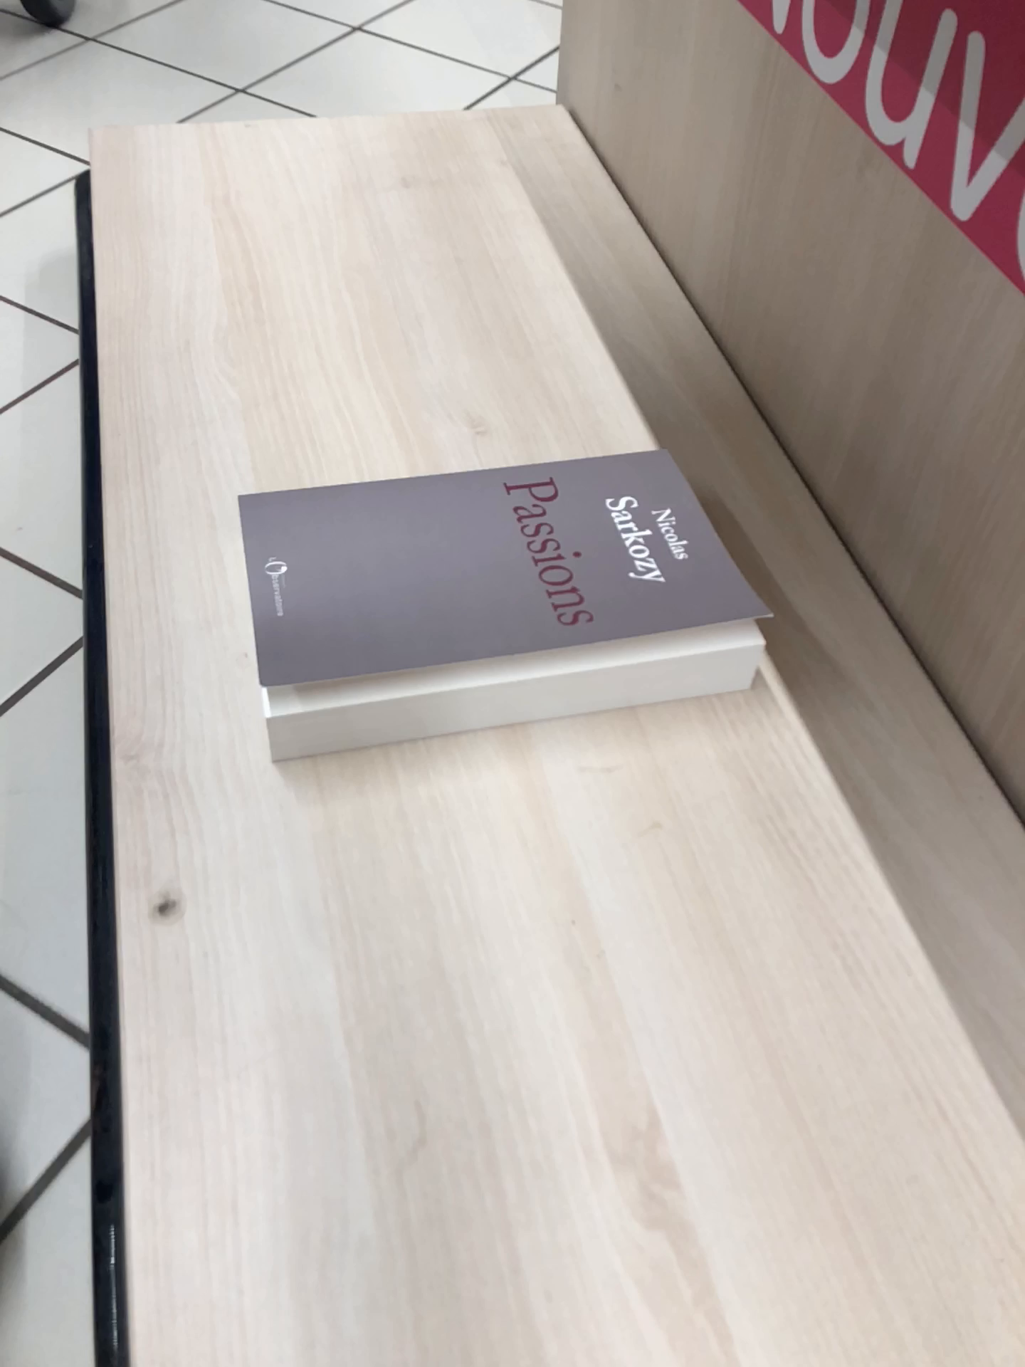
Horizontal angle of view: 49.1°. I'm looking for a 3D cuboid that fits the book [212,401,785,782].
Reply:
[{"bbox_3d":[-0.014,-0.051,0.516,0.225,0.044,0.157,-10,51,-11],"label":"book"}]
